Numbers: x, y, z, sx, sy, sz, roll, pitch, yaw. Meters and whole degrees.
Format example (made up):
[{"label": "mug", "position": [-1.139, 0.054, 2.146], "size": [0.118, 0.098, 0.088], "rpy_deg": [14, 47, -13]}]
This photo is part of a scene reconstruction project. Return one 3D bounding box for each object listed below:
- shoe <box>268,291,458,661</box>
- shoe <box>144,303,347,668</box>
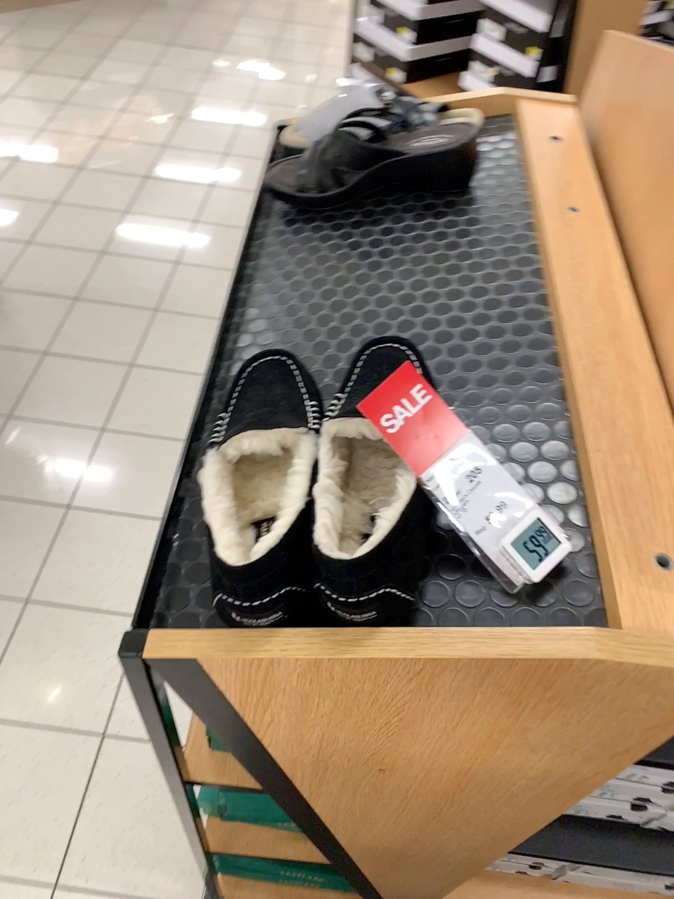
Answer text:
[{"label": "shoe", "position": [0.032, 0.007, 0.480], "size": [0.086, 0.090, 0.251], "rpy_deg": [-4, 48, 16]}, {"label": "shoe", "position": [-0.051, 0.016, 0.497], "size": [0.086, 0.090, 0.251], "rpy_deg": [-8, 48, 13]}]
